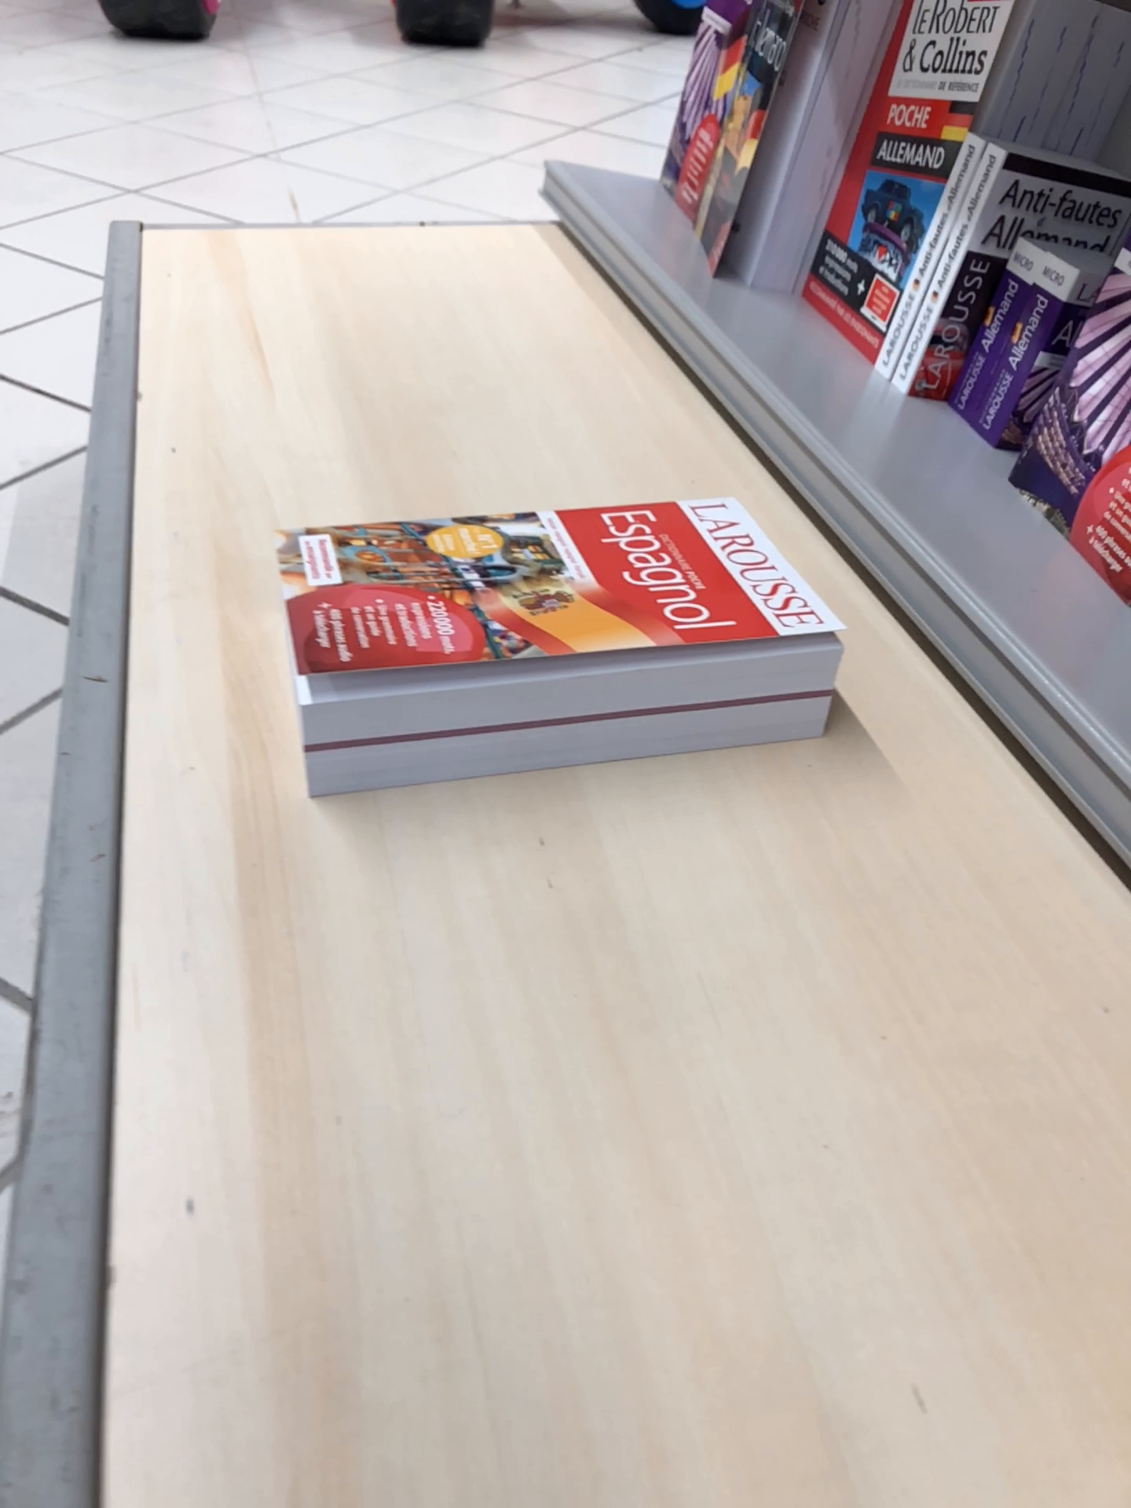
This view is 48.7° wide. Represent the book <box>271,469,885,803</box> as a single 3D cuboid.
[{"bbox_3d":[-0.003,-0.047,0.430,0.182,0.044,0.118,-6,40,-13],"label":"book"}]
